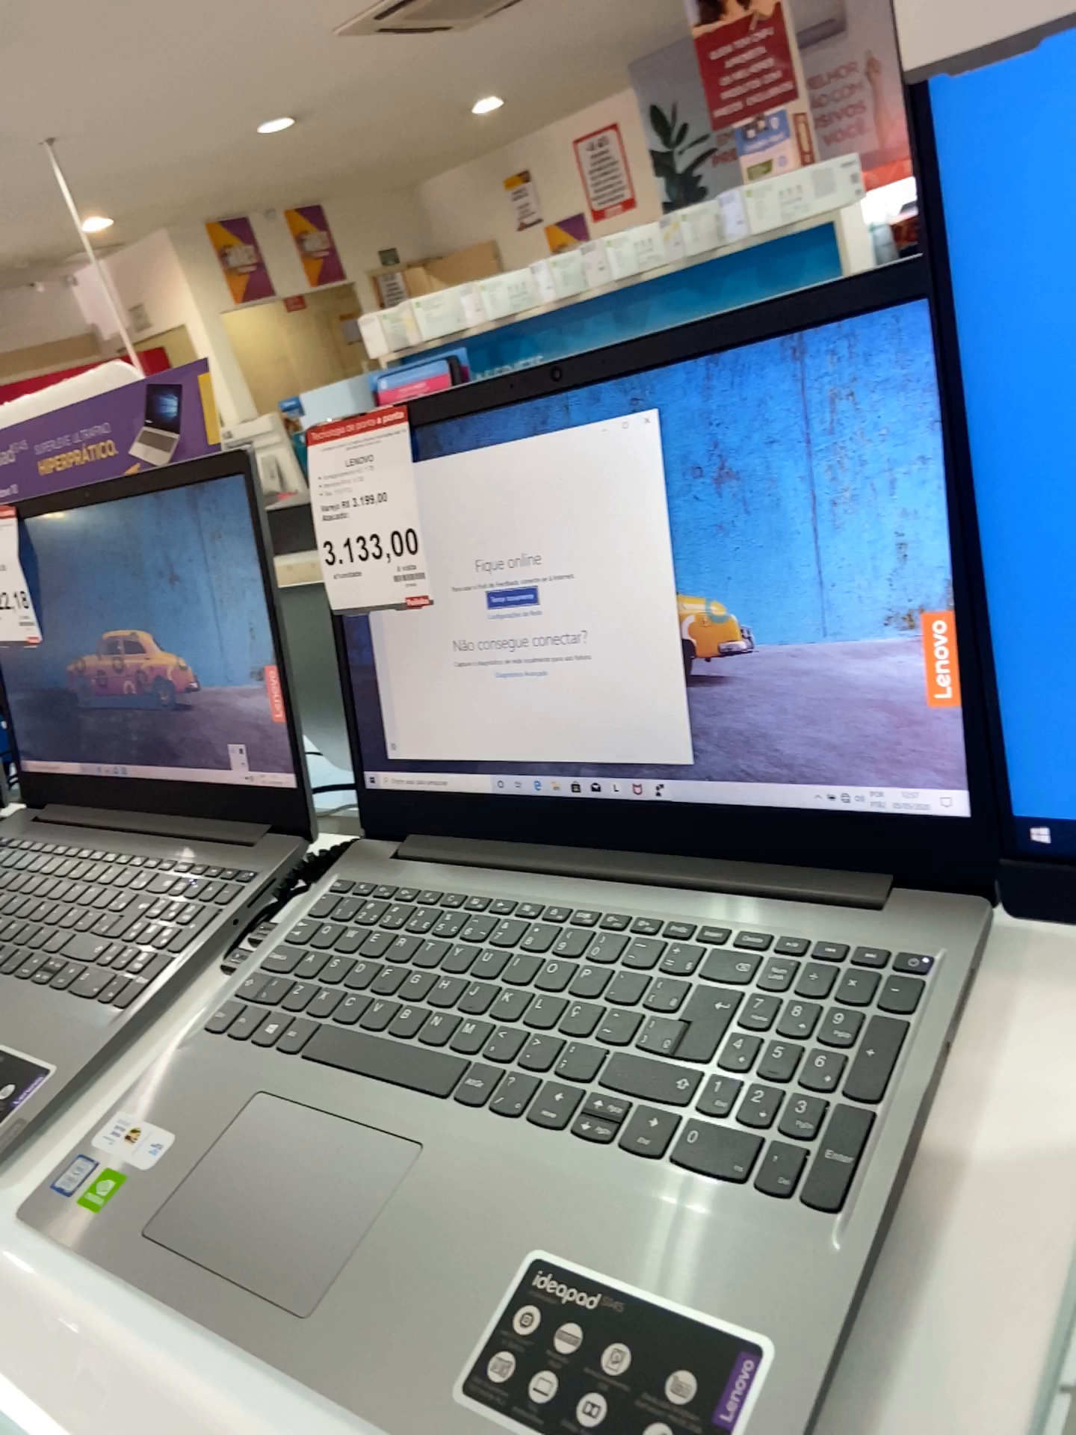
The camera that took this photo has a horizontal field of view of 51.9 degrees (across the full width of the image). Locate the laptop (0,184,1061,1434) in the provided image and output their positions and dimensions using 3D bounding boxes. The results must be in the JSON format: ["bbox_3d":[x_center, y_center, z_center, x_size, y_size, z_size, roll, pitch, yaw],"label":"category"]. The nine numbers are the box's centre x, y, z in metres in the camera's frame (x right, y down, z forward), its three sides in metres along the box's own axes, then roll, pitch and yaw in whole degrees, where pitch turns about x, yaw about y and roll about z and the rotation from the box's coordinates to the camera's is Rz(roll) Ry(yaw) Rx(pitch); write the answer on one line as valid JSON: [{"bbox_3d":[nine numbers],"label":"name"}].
[{"bbox_3d":[-0.035,0.010,0.453,0.363,0.224,0.361,-2,32,39],"label":"laptop"}]
